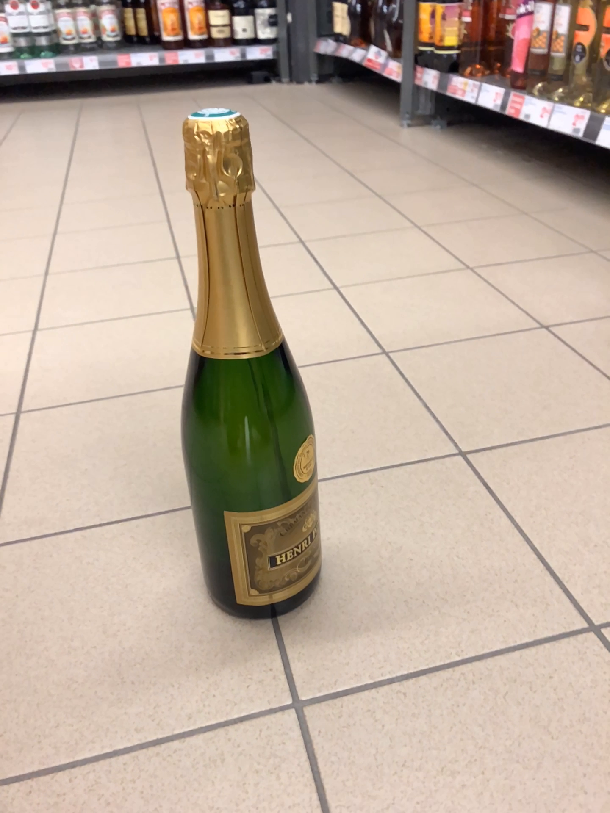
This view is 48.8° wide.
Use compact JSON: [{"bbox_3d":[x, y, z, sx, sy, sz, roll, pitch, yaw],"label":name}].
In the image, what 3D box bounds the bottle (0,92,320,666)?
[{"bbox_3d":[-0.065,-0.007,0.394,0.100,0.308,0.101,-2,32,1],"label":"bottle"}]
